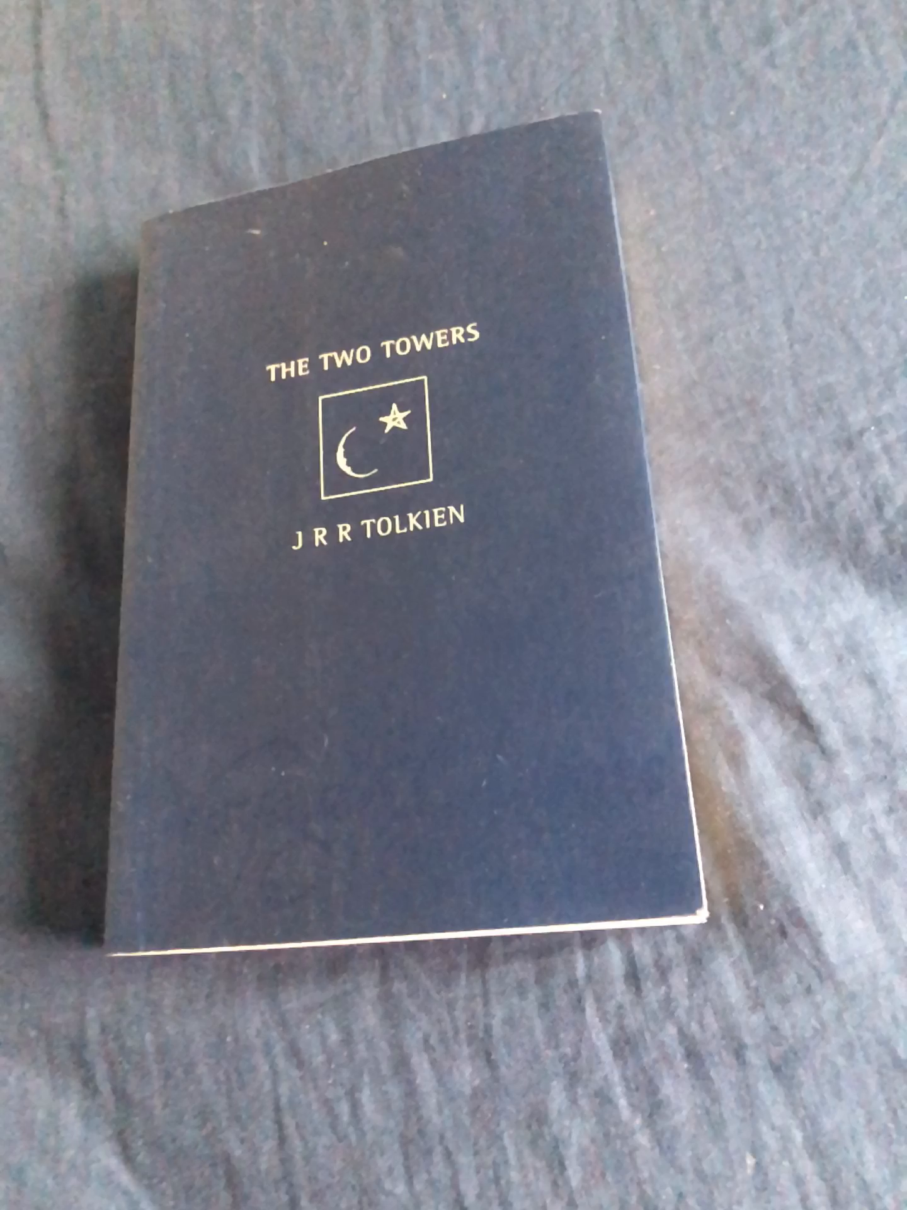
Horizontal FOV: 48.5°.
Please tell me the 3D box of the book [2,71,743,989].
[{"bbox_3d":[-0.021,-0.016,0.243,0.140,0.060,0.190,-8,70,9],"label":"book"}]
